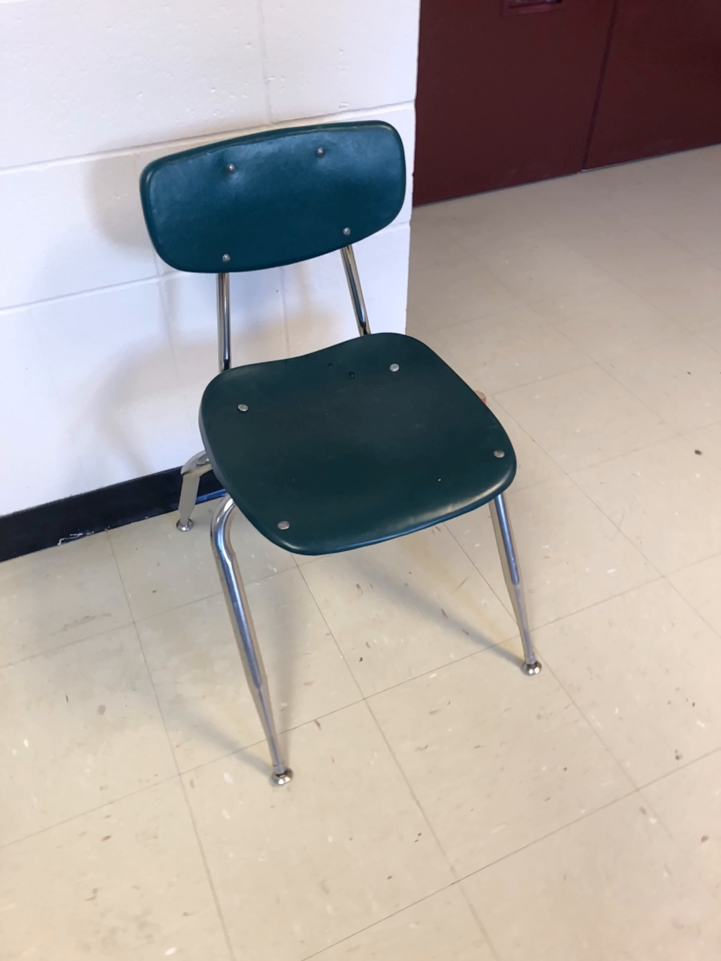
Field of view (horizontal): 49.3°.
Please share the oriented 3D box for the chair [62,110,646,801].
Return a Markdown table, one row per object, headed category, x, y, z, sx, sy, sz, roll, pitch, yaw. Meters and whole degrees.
| category | x | y | z | sx | sy | sz | roll | pitch | yaw |
| --- | --- | --- | --- | --- | --- | --- | --- | --- | --- |
| chair | -0.047 | -0.050 | 1.154 | 0.480 | 0.695 | 0.594 | -19 | 46 | -17 |
